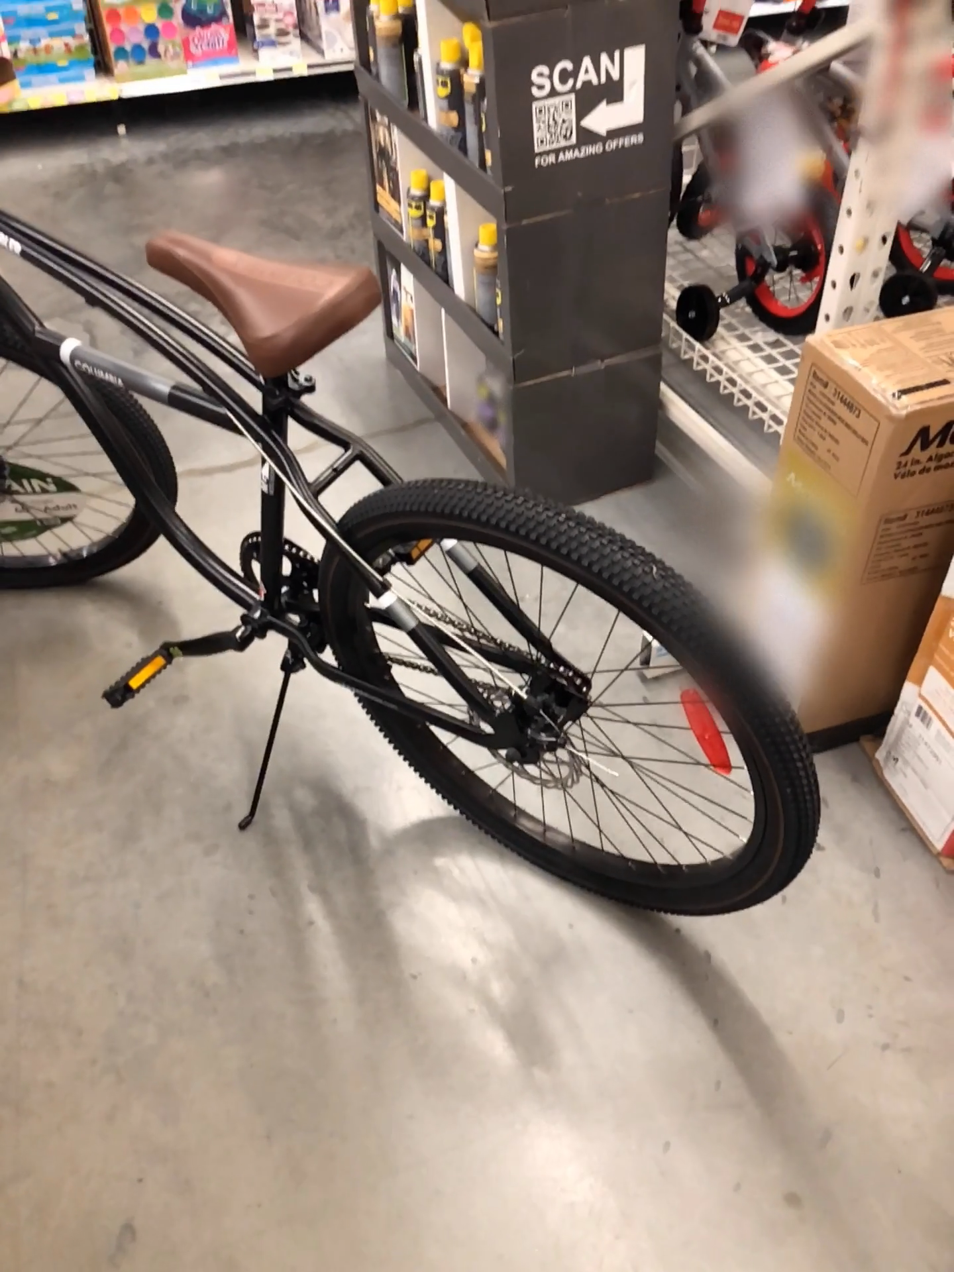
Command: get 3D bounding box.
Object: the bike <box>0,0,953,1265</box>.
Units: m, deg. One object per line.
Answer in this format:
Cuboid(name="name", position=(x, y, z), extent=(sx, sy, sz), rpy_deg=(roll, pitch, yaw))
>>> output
Cuboid(name="bike", position=(-0.418, -0.210, 1.121), extent=(1.585, 0.975, 0.655), rpy_deg=(22, 48, 17))
